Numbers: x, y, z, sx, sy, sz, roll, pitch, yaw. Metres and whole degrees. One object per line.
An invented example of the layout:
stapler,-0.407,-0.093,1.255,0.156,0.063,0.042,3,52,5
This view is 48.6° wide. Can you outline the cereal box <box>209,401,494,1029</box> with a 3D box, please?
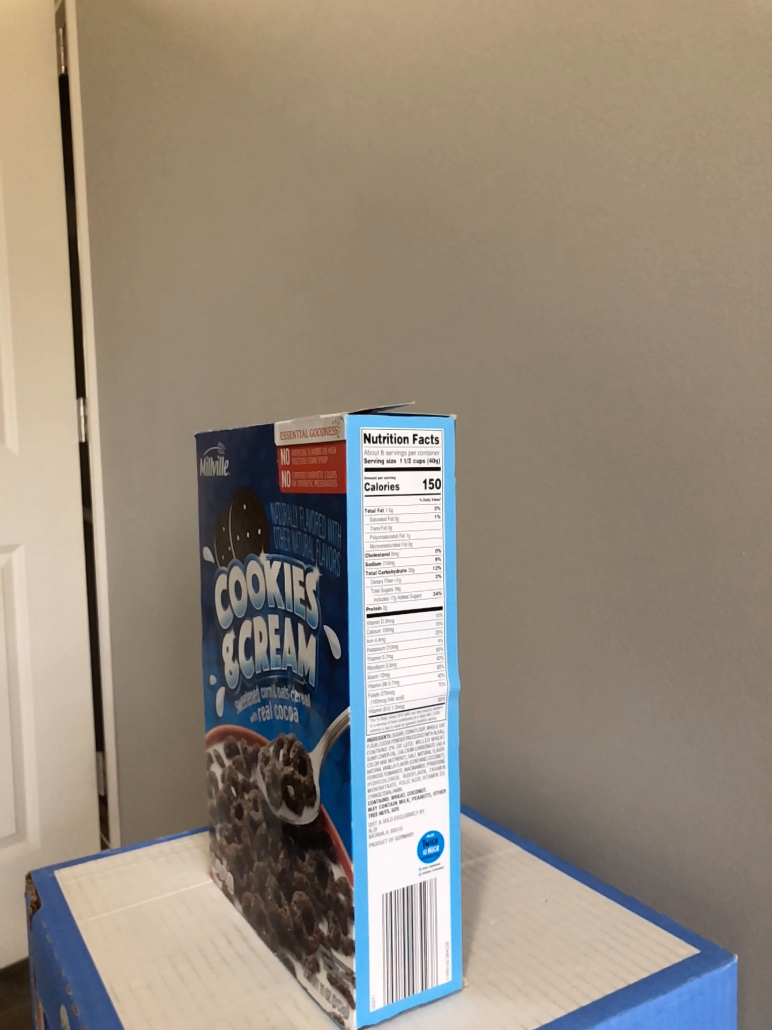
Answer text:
cereal box,-0.030,0.100,0.490,0.070,0.310,0.200,-2,2,-31
